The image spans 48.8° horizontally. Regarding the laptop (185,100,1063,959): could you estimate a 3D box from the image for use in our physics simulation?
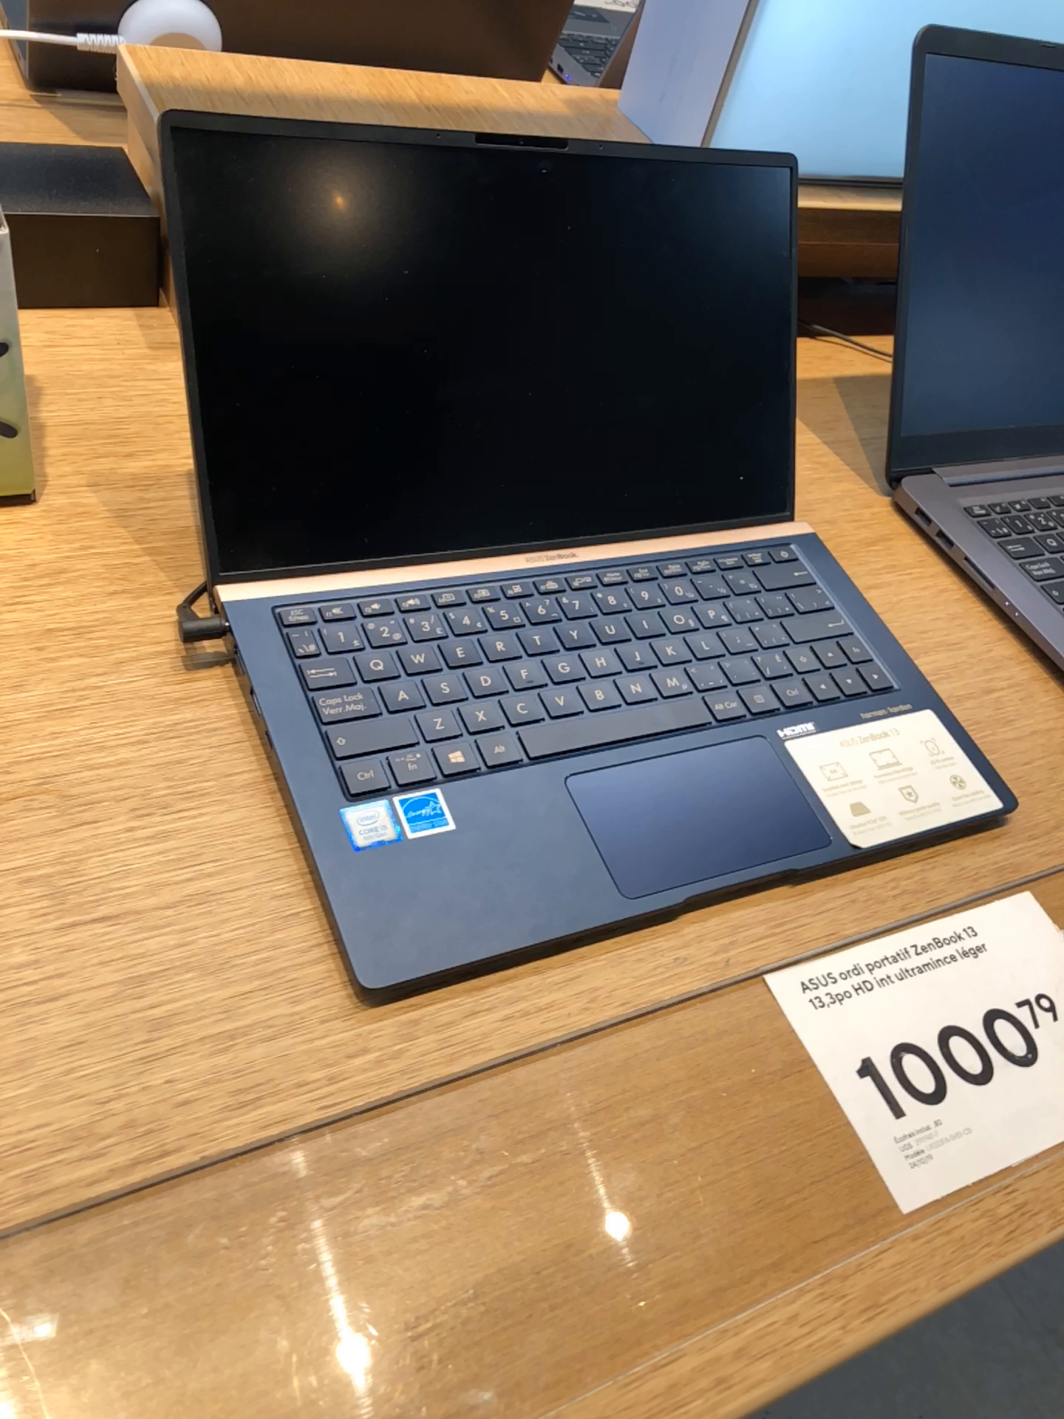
[{"bbox_3d":[0.033,-0.096,0.459,0.276,0.130,0.277,-10,55,-25],"label":"laptop"}]
